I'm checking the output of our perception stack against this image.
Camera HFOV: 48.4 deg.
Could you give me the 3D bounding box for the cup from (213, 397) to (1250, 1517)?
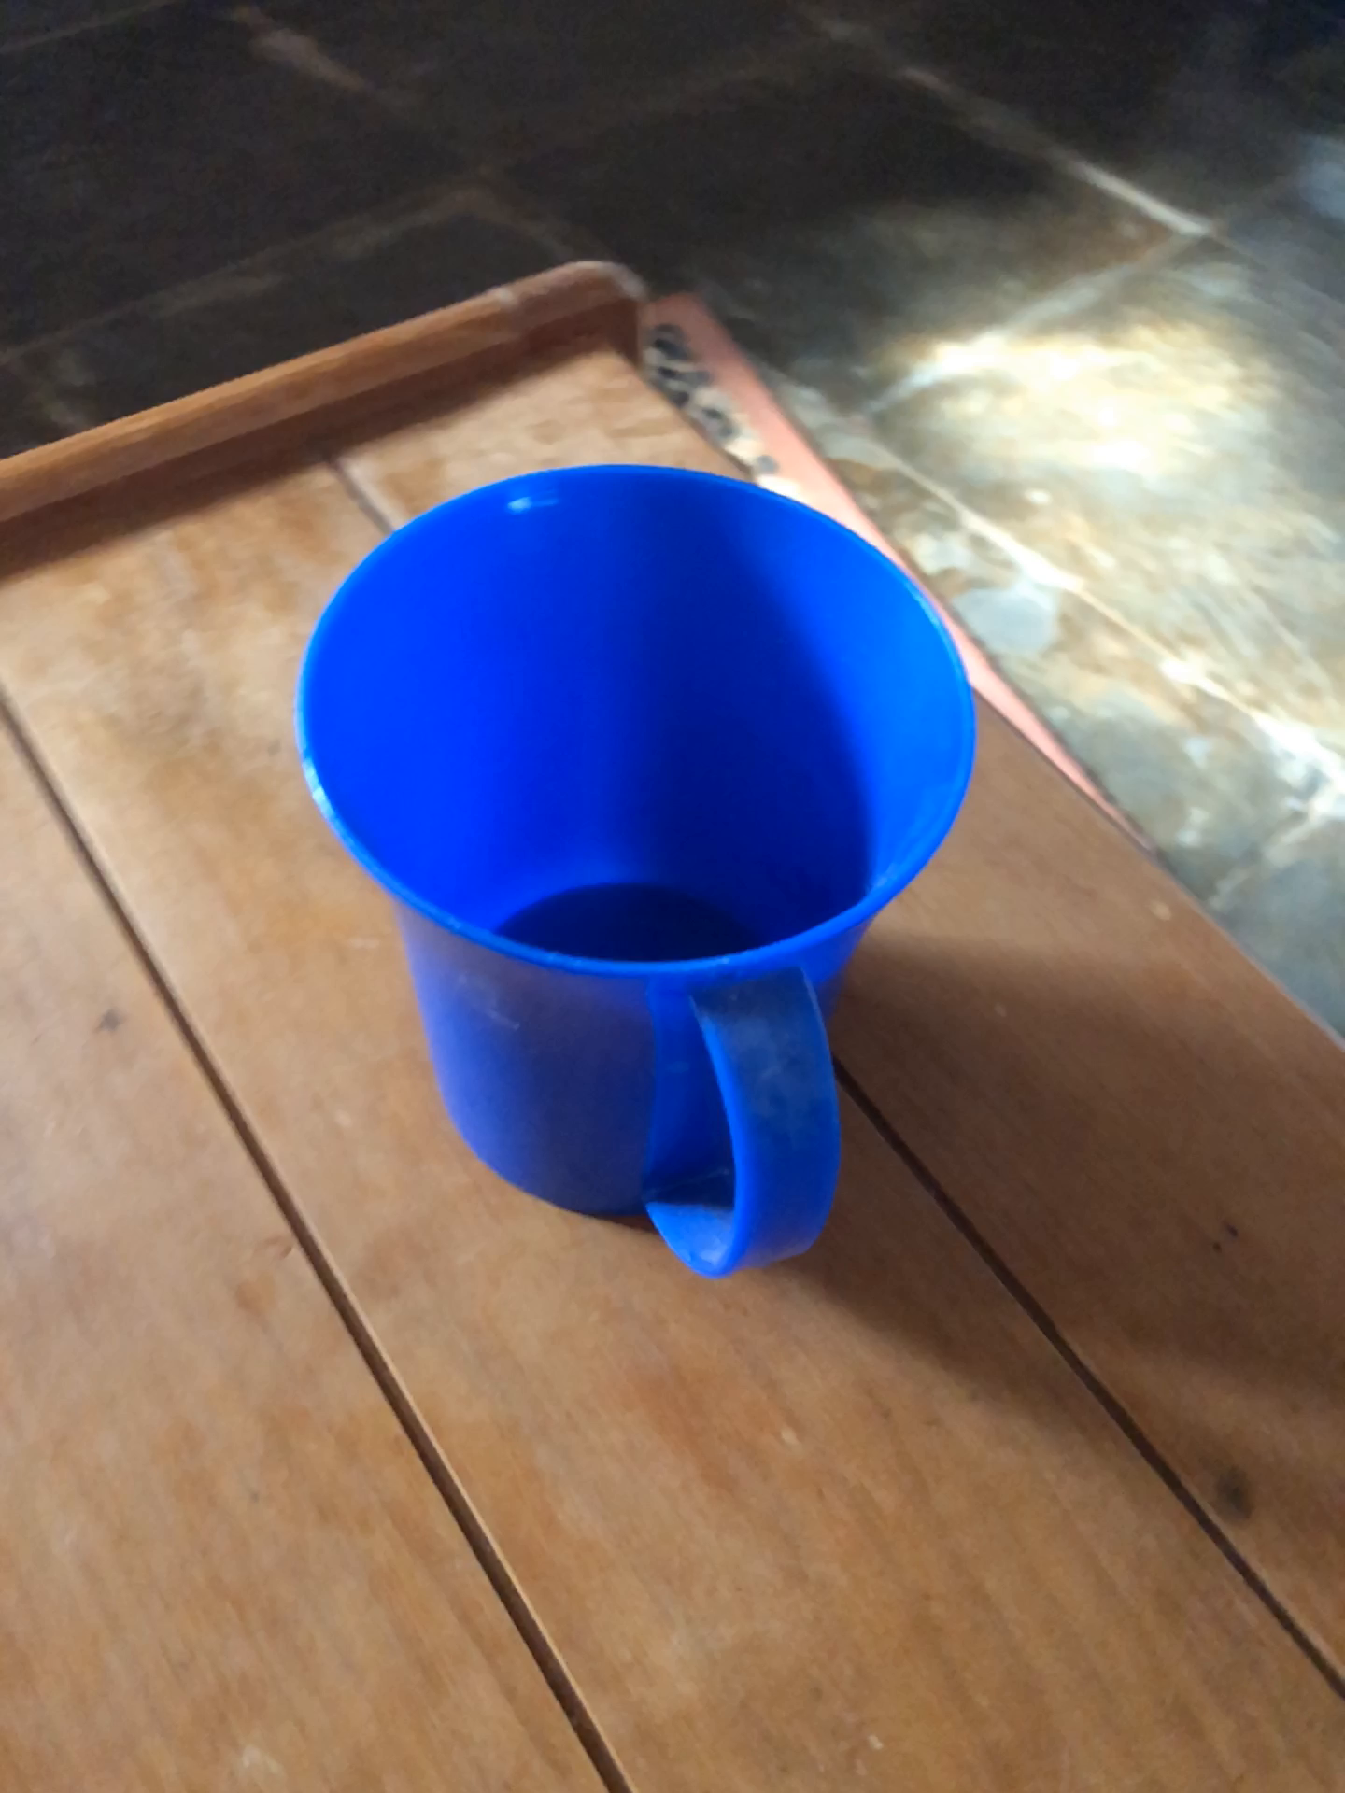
[{"bbox_3d":[-0.002,0.008,0.235,0.100,0.099,0.121,-14,56,-13],"label":"cup"}]
